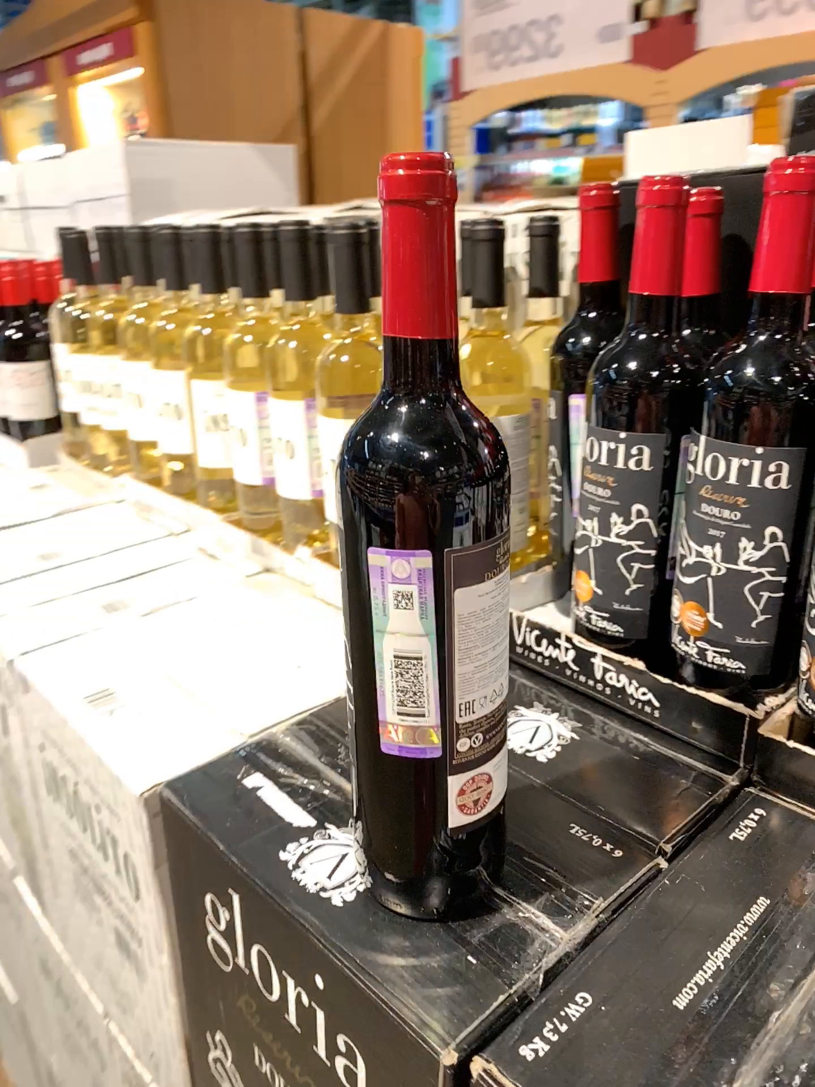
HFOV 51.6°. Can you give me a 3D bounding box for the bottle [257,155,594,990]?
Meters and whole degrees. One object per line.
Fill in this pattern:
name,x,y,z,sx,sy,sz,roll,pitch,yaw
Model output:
bottle,0.012,0.016,0.351,0.080,0.318,0.090,14,26,34
